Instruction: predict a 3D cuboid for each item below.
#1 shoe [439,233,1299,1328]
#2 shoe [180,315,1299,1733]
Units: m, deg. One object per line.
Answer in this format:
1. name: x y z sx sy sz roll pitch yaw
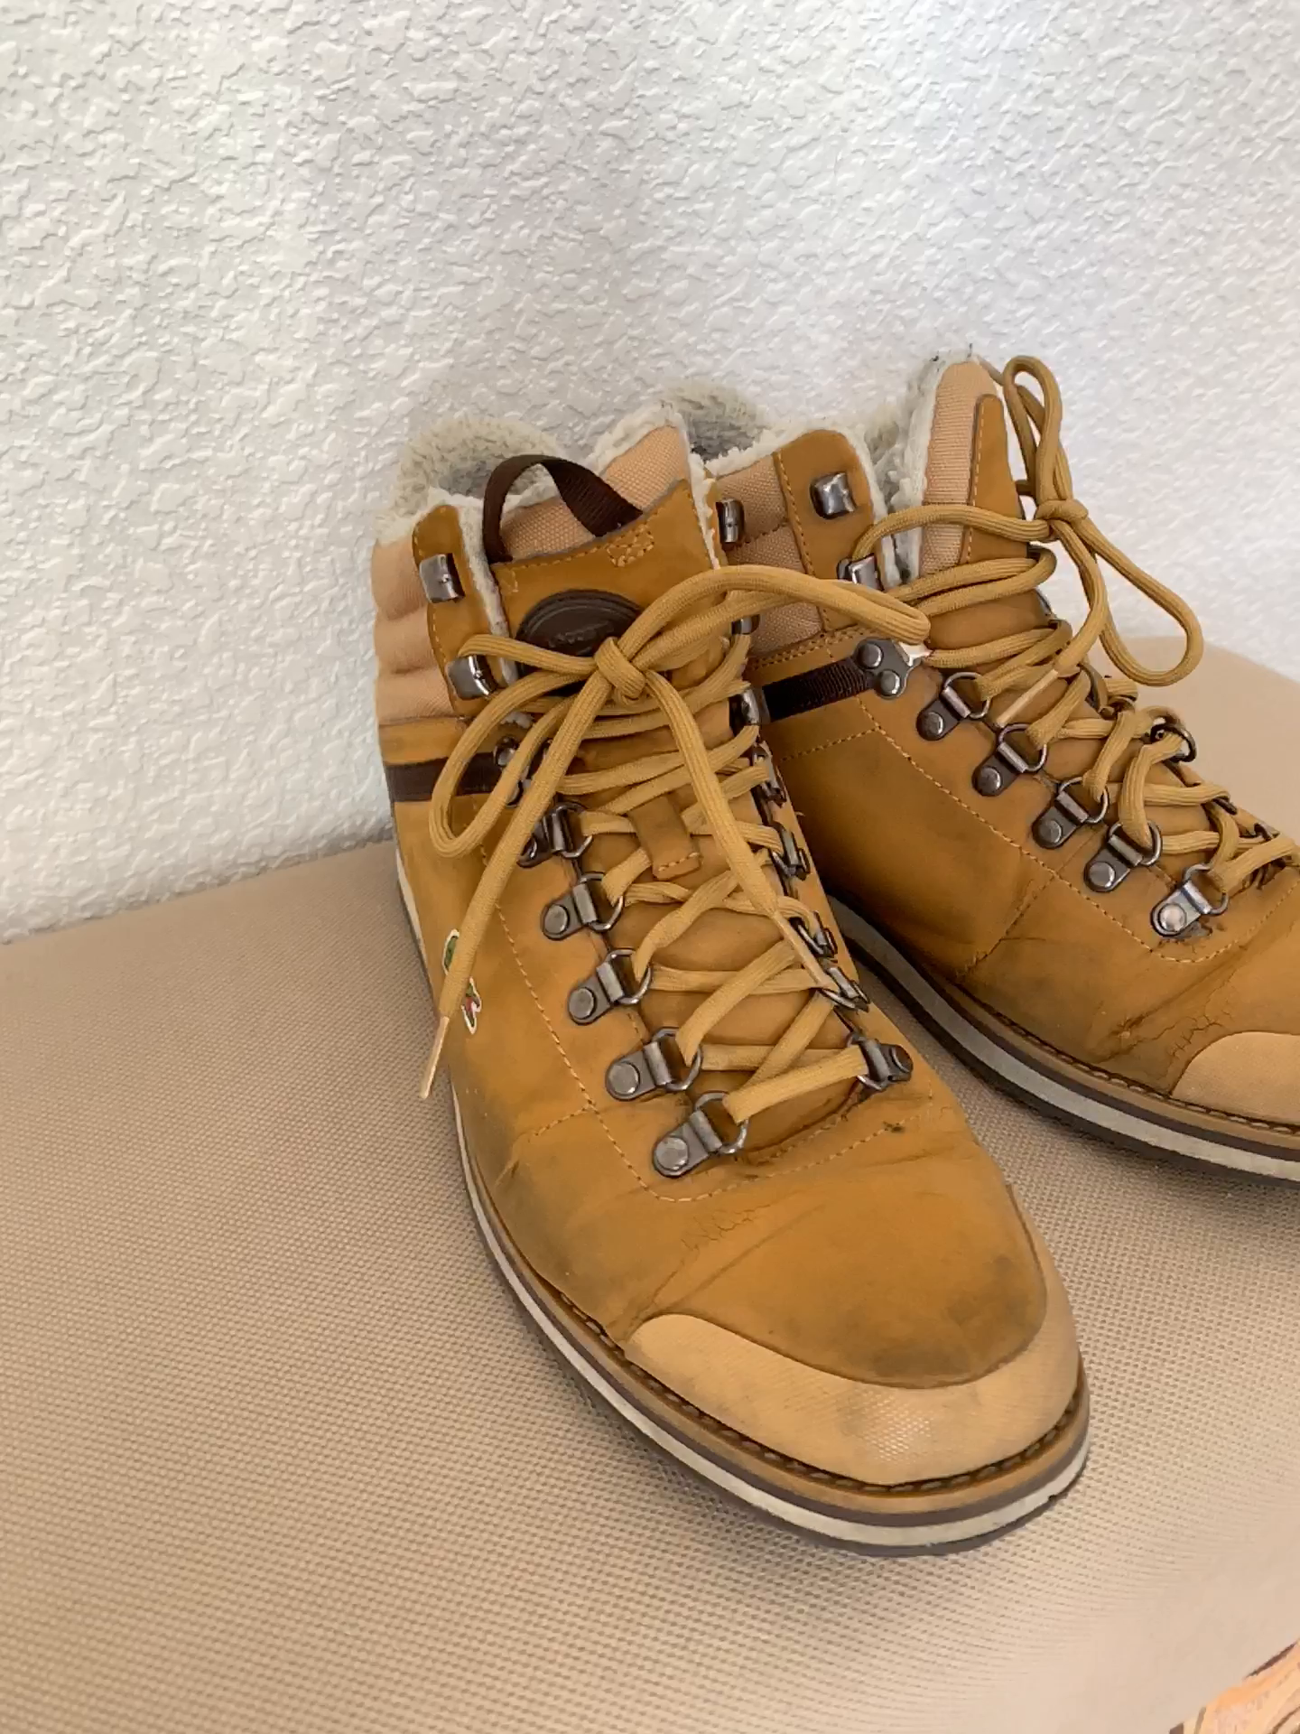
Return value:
1. shoe: 0.085 -0.052 0.371 0.120 0.149 0.301 -30 49 -32
2. shoe: -0.011 -0.005 0.315 0.120 0.149 0.301 -15 40 -19
